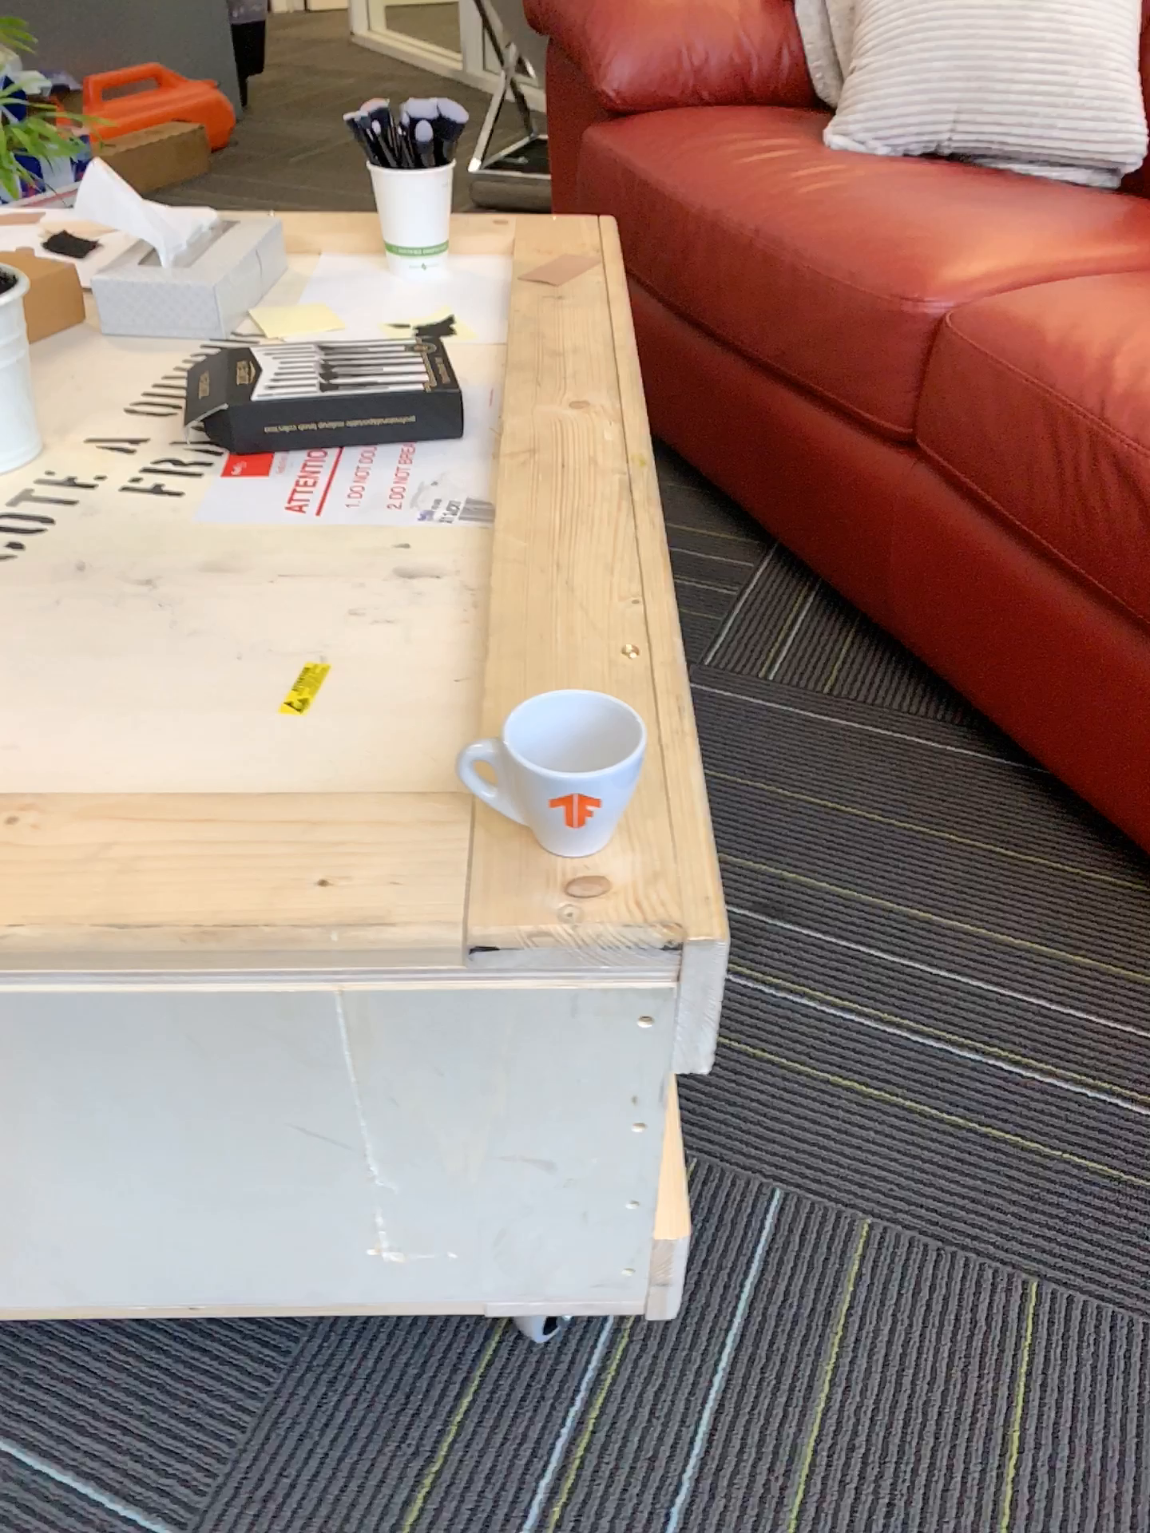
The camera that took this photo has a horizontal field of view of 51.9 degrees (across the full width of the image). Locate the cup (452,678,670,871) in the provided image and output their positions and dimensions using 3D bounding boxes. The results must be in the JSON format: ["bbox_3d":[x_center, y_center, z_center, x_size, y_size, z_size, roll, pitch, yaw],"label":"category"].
[{"bbox_3d":[-0.006,0.003,0.529,0.090,0.060,0.060,1,39,0],"label":"cup"}]
